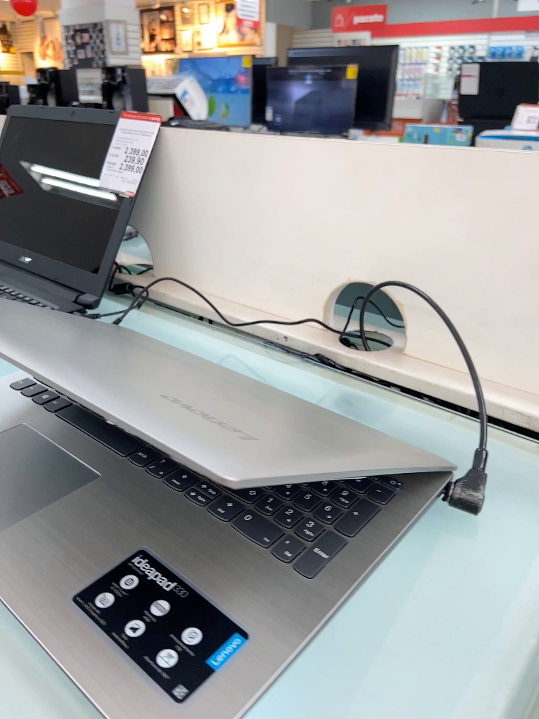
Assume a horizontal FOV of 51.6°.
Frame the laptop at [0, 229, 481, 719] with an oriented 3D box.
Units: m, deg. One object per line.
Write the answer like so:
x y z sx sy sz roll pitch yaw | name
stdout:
-0.096 0.015 0.375 0.369 0.114 0.247 19 32 37 | laptop

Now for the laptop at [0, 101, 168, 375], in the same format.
-0.402 -0.208 0.723 0.355 0.211 0.401 20 31 32 | laptop
